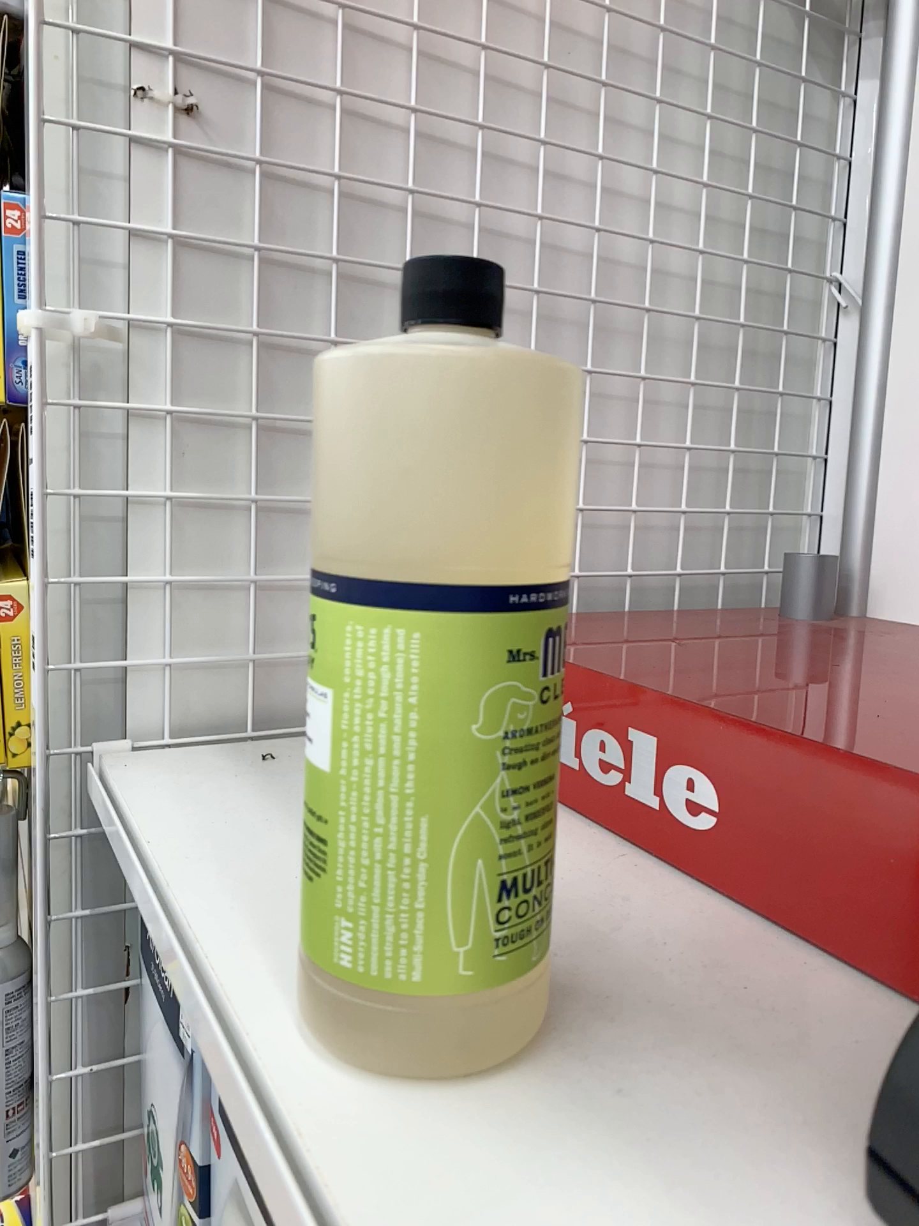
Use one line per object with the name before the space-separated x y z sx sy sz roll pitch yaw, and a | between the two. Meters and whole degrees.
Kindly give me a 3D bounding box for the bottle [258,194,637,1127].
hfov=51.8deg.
bottle | 0.000 0.011 0.291 0.090 0.240 0.090 2 7 0
